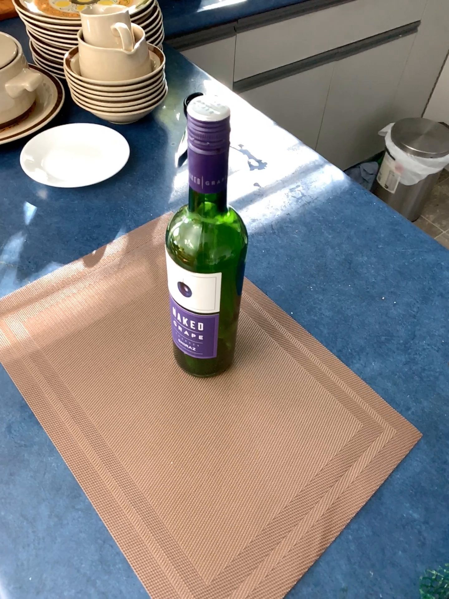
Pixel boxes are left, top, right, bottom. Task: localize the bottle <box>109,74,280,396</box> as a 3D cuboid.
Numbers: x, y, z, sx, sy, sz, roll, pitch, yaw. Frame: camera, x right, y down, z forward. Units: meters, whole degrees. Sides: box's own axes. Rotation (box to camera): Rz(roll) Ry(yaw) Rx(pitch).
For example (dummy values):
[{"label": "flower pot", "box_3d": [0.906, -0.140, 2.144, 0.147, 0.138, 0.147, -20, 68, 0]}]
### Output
[{"label": "bottle", "box_3d": [-0.024, -0.030, 0.409, 0.080, 0.288, 0.080, 2, 52, -2]}]
